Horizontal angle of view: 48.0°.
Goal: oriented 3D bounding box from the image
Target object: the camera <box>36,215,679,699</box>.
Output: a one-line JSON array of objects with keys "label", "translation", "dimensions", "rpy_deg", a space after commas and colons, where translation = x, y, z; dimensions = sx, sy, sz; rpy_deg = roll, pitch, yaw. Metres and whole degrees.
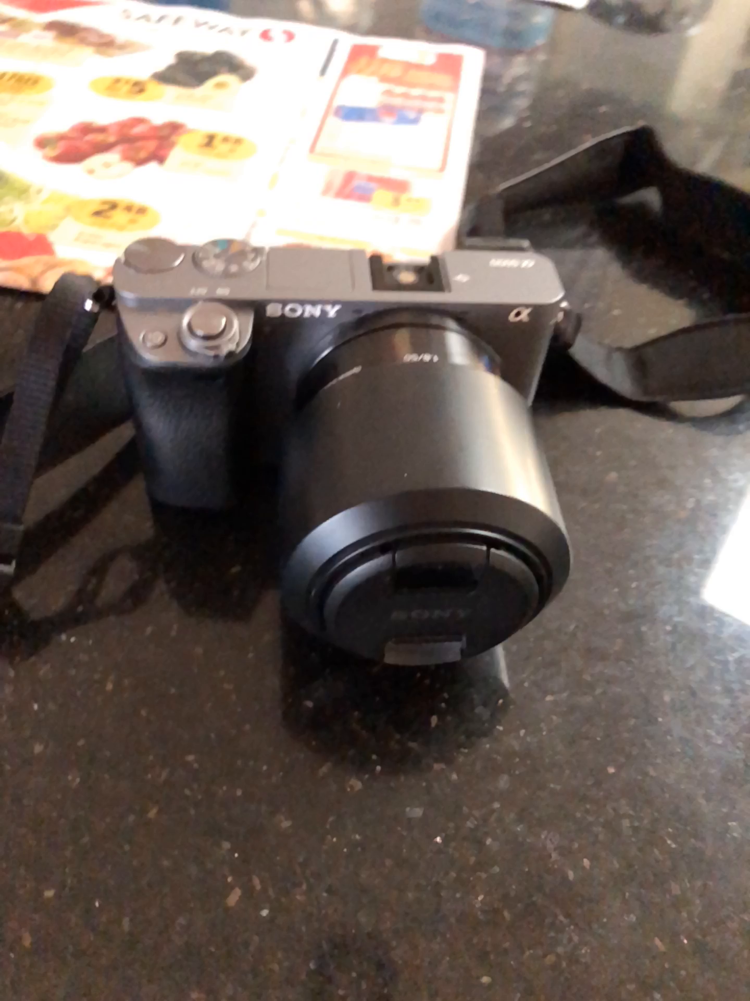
[{"label": "camera", "translation": [-0.008, -0.015, 0.231], "dimensions": [0.130, 0.070, 0.111], "rpy_deg": [-1, 51, -6]}]
